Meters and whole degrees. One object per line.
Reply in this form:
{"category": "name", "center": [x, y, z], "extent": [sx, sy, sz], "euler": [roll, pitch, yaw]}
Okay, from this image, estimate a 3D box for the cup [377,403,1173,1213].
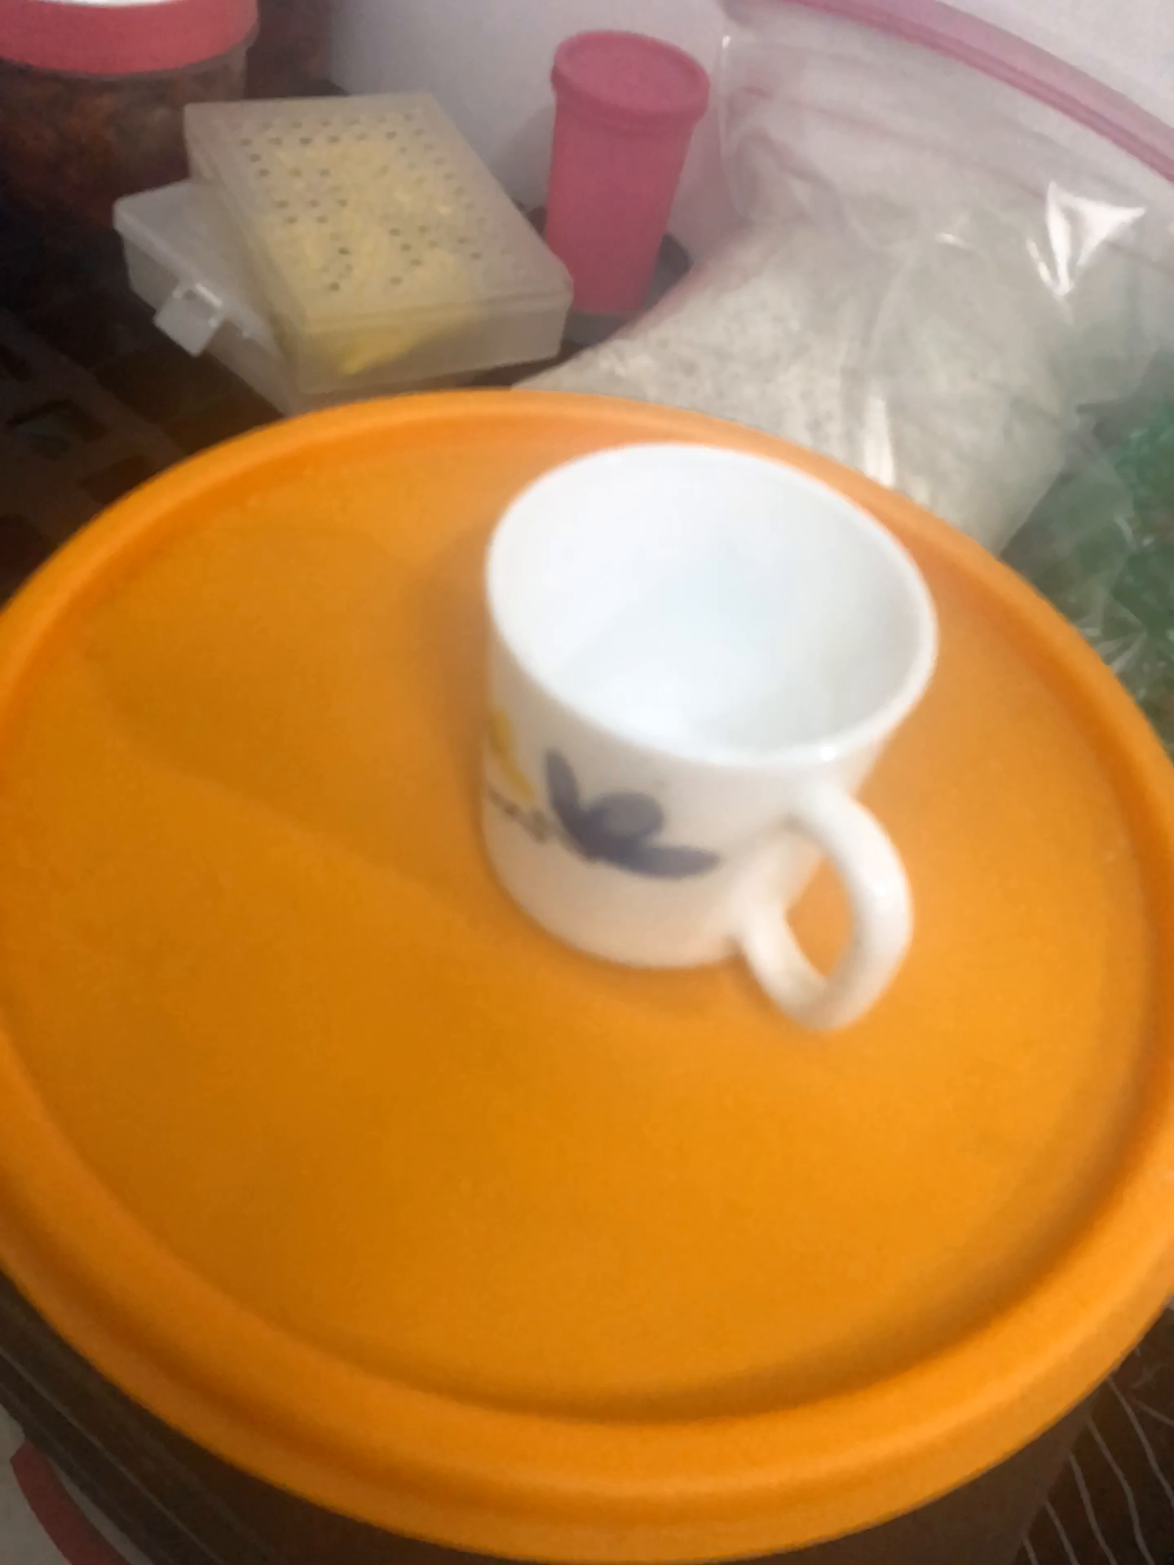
{"category": "cup", "center": [0.022, 0.000, 0.224], "extent": [0.080, 0.070, 0.100], "euler": [-21, 59, -25]}
